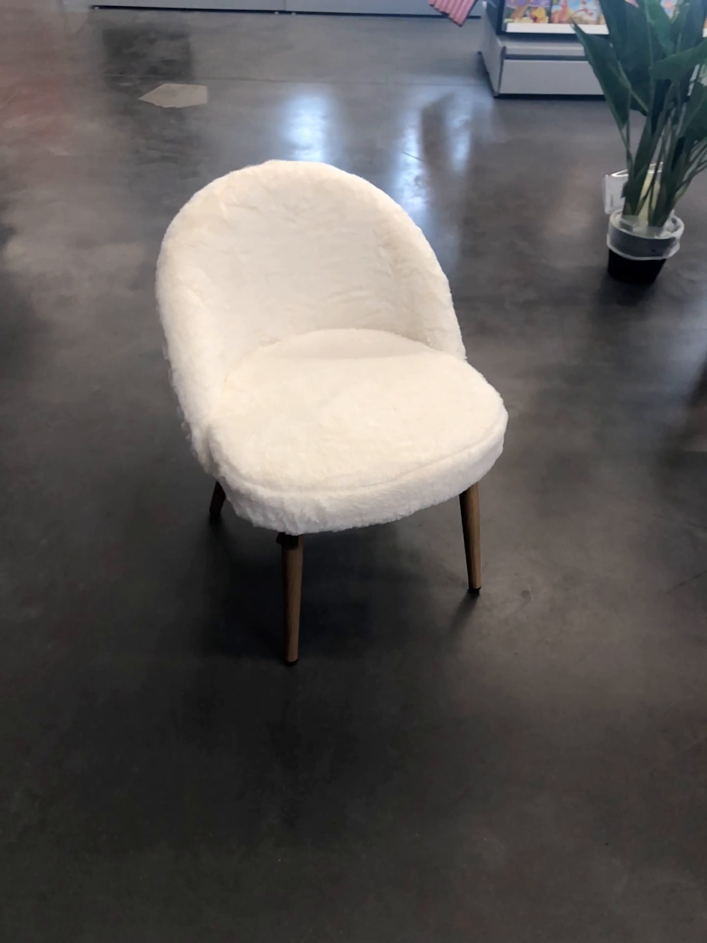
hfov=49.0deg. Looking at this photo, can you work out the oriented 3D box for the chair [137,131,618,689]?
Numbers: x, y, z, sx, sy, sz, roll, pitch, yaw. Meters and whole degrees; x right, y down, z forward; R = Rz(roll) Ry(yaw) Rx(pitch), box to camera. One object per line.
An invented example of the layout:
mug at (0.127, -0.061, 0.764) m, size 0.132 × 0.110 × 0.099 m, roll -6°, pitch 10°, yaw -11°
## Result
chair at (-0.011, -0.106, 1.089) m, size 0.411 × 0.537 × 0.472 m, roll -14°, pitch 43°, yaw -19°
